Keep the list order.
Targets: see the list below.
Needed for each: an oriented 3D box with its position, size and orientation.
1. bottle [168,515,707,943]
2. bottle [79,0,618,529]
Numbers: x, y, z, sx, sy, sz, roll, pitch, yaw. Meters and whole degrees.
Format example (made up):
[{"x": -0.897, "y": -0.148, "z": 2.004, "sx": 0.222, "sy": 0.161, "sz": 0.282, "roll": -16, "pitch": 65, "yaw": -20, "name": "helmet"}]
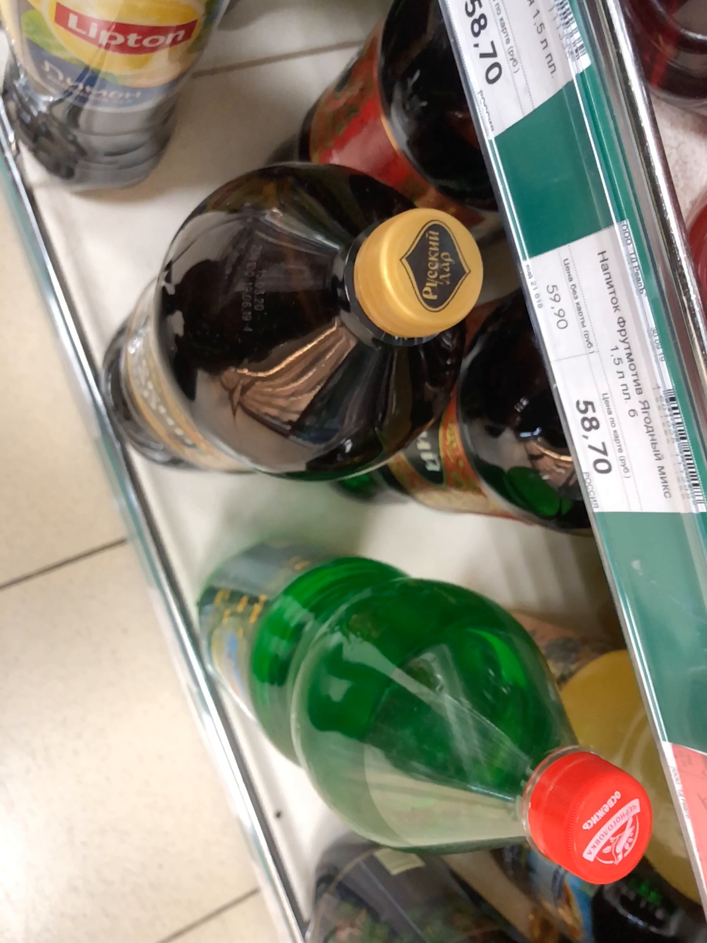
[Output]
[{"x": -0.006, "y": 0.089, "z": 0.355, "sx": 0.085, "sy": 0.328, "sz": 0.099, "roll": -16, "pitch": 96, "yaw": -20, "name": "bottle"}, {"x": -0.046, "y": -0.055, "z": 0.338, "sx": 0.100, "sy": 0.323, "sz": 0.110, "roll": 0, "pitch": 91, "yaw": -21, "name": "bottle"}]
